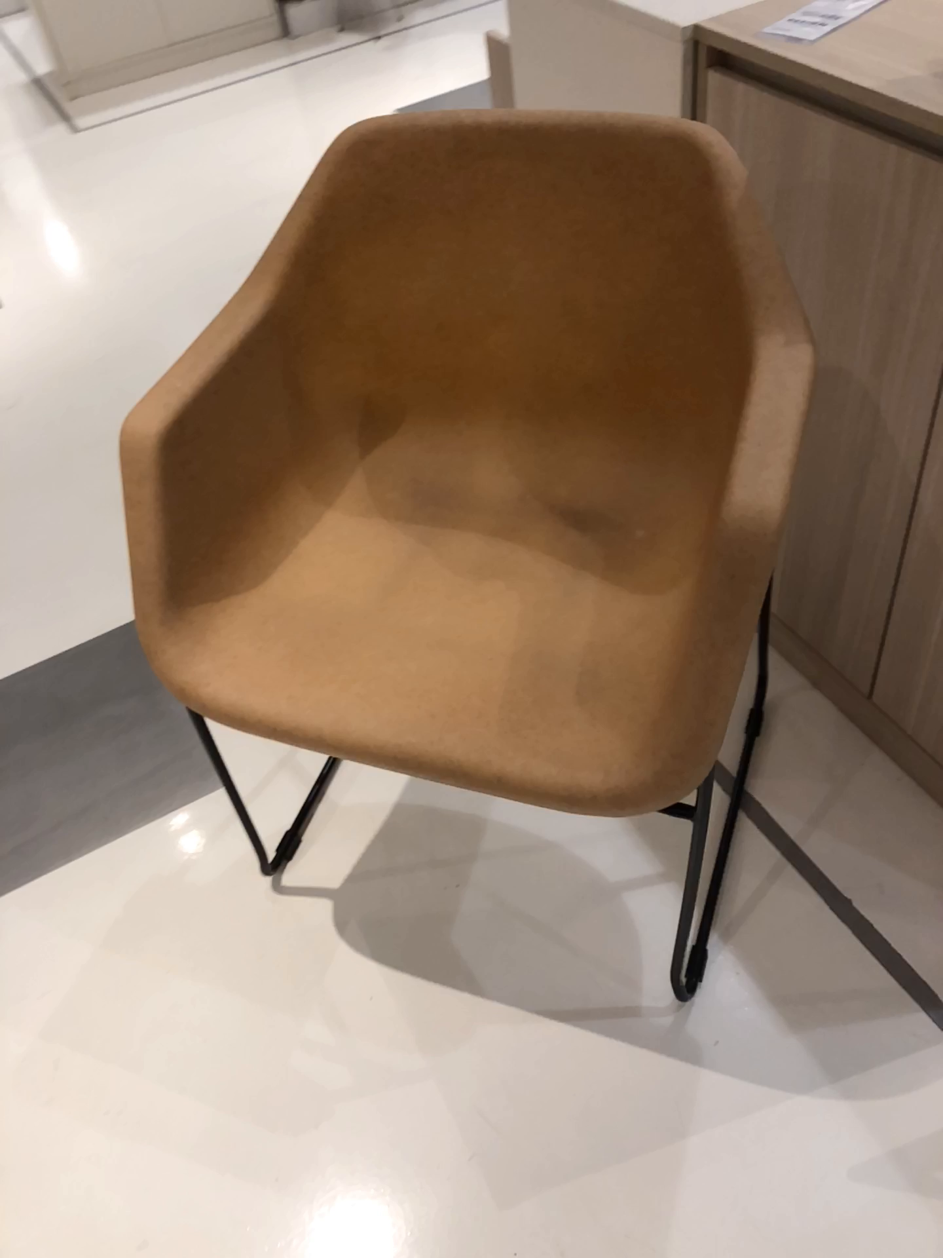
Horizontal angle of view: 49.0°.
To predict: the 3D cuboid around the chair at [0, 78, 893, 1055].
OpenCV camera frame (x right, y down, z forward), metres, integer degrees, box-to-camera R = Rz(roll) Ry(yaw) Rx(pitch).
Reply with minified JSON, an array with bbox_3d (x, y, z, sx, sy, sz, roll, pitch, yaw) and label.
[{"bbox_3d":[0.033,-0.070,1.049,0.591,0.706,0.573,10,49,19],"label":"chair"}]
